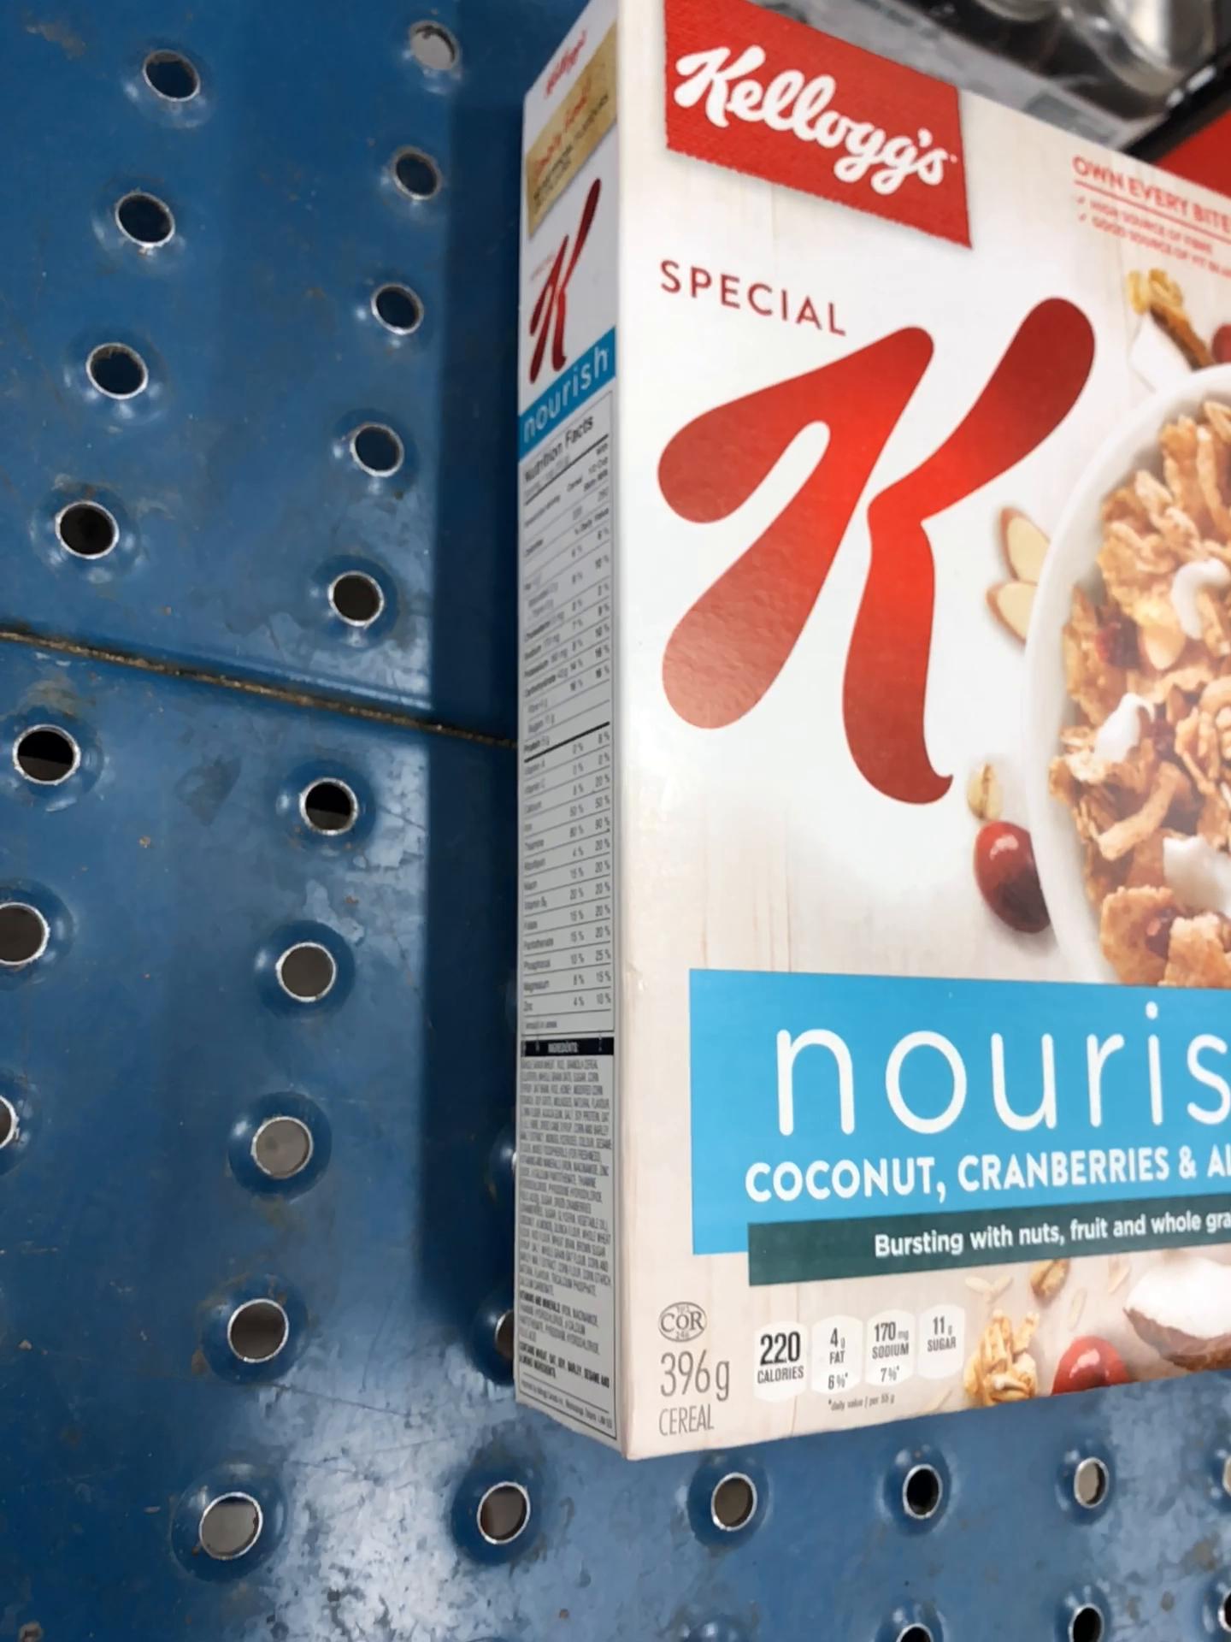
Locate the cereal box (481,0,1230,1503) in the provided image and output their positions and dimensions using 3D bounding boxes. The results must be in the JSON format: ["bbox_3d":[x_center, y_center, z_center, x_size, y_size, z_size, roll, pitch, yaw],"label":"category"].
[{"bbox_3d":[0.080,-0.029,0.303,0.211,0.050,0.290,4,80,-27],"label":"cereal box"}]
